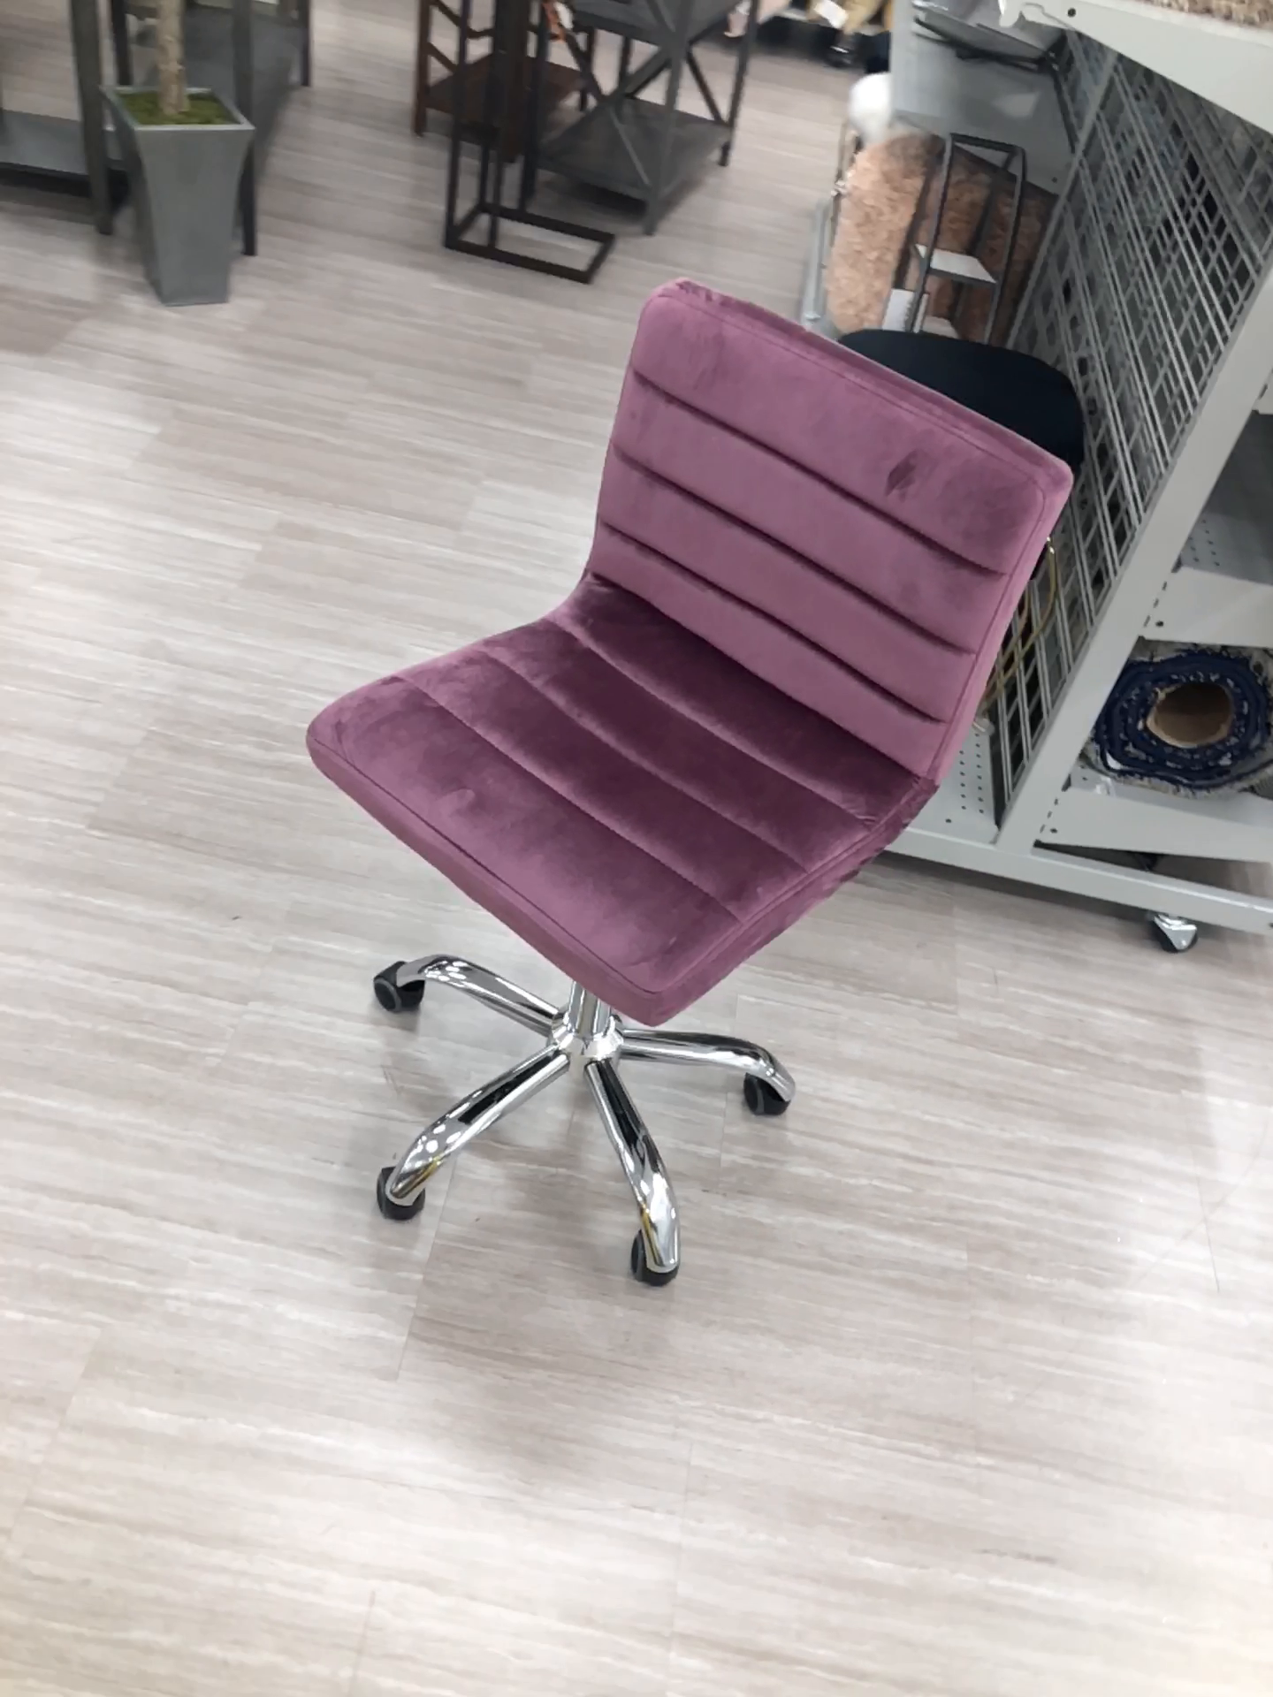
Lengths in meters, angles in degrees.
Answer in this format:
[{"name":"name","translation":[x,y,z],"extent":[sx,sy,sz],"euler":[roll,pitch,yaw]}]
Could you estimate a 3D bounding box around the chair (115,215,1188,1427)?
[{"name":"chair","translation":[-0.026,-0.036,1.323],"extent":[0.587,0.800,0.579],"euler":[35,47,22]}]
